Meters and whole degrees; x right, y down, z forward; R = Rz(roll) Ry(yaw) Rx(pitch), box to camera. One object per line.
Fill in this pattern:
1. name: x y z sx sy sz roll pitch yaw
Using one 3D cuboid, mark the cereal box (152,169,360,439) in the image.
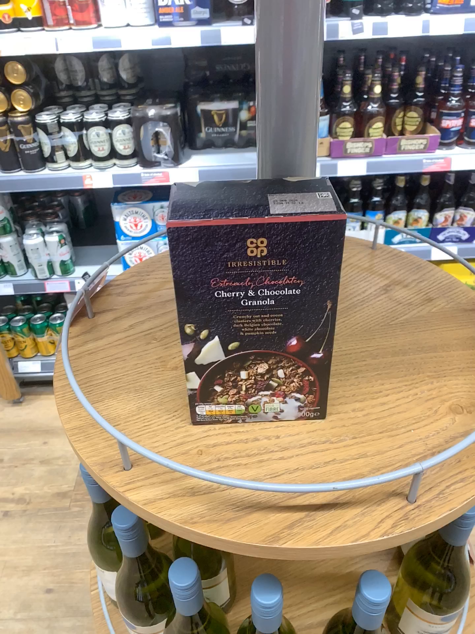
1. cereal box: 0.015 -0.004 0.430 0.140 0.218 0.091 -3 36 0
